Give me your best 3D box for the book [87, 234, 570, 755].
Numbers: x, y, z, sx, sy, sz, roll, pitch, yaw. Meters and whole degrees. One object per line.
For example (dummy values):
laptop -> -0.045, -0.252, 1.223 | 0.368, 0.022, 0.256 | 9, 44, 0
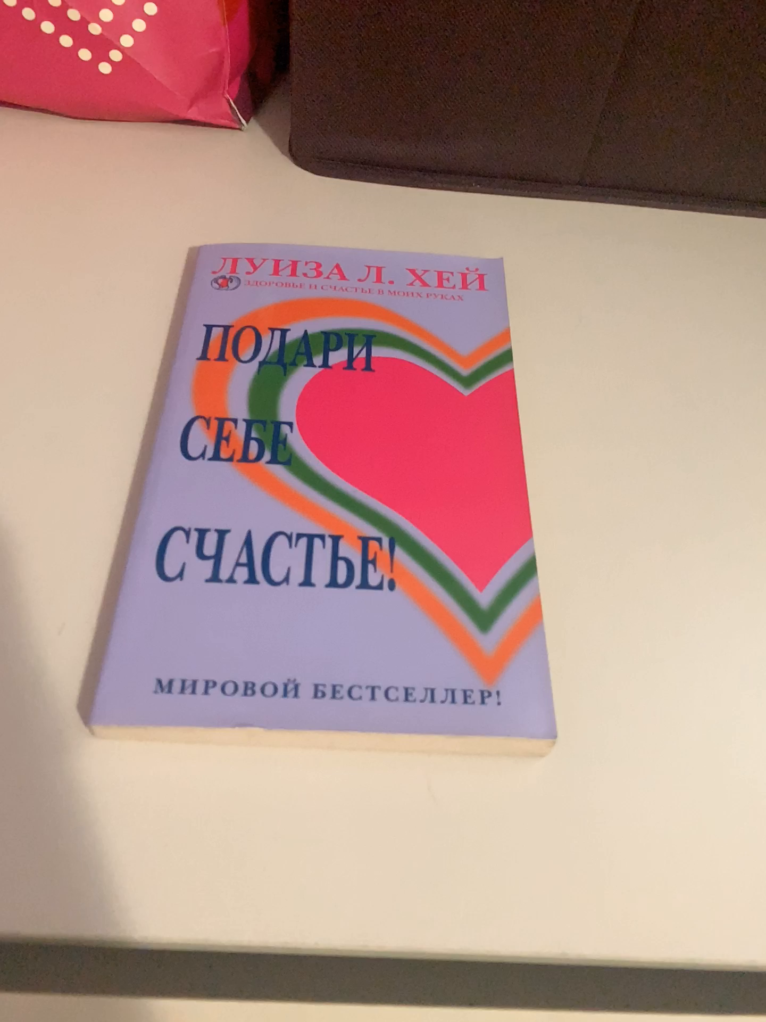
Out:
book -> -0.013, -0.020, 0.262 | 0.123, 0.016, 0.195 | 3, 55, -4
